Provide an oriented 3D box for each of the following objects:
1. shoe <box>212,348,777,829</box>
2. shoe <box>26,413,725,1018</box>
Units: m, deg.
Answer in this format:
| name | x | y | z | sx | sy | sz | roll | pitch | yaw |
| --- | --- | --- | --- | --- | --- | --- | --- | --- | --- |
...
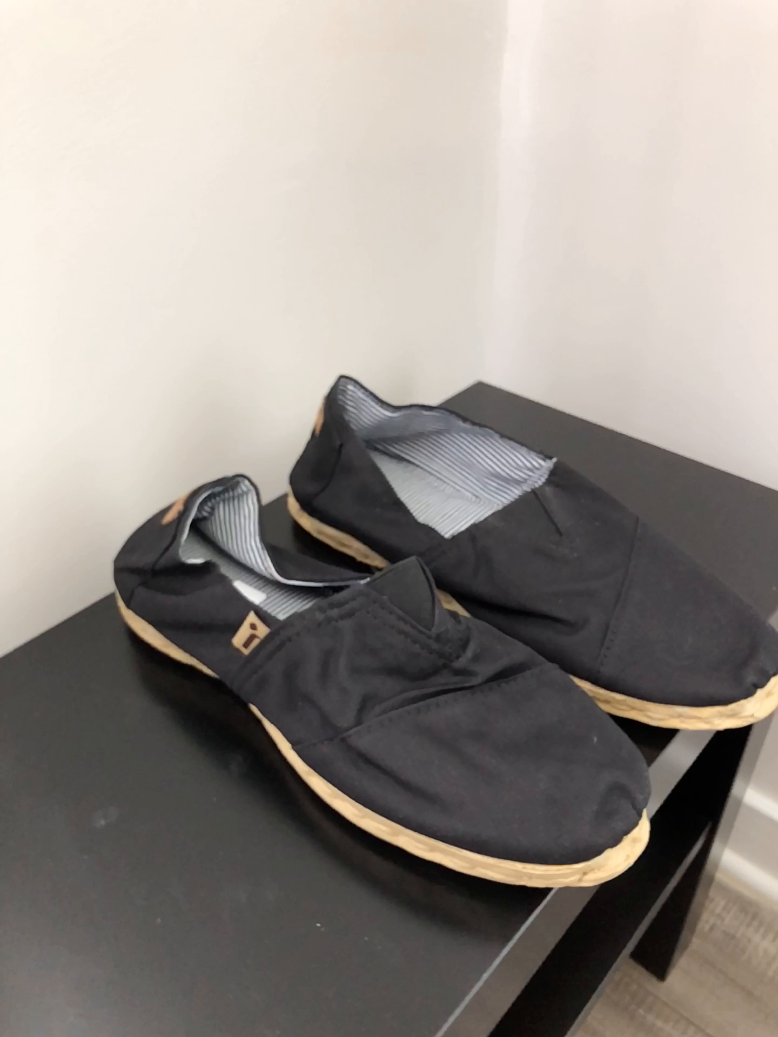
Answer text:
| name | x | y | z | sx | sy | sz | roll | pitch | yaw |
| --- | --- | --- | --- | --- | --- | --- | --- | --- | --- |
| shoe | 0.049 | 0.011 | 0.412 | 0.275 | 0.080 | 0.101 | 27 | 44 | 32 |
| shoe | -0.022 | 0.054 | 0.361 | 0.275 | 0.080 | 0.101 | 27 | 44 | 32 |
